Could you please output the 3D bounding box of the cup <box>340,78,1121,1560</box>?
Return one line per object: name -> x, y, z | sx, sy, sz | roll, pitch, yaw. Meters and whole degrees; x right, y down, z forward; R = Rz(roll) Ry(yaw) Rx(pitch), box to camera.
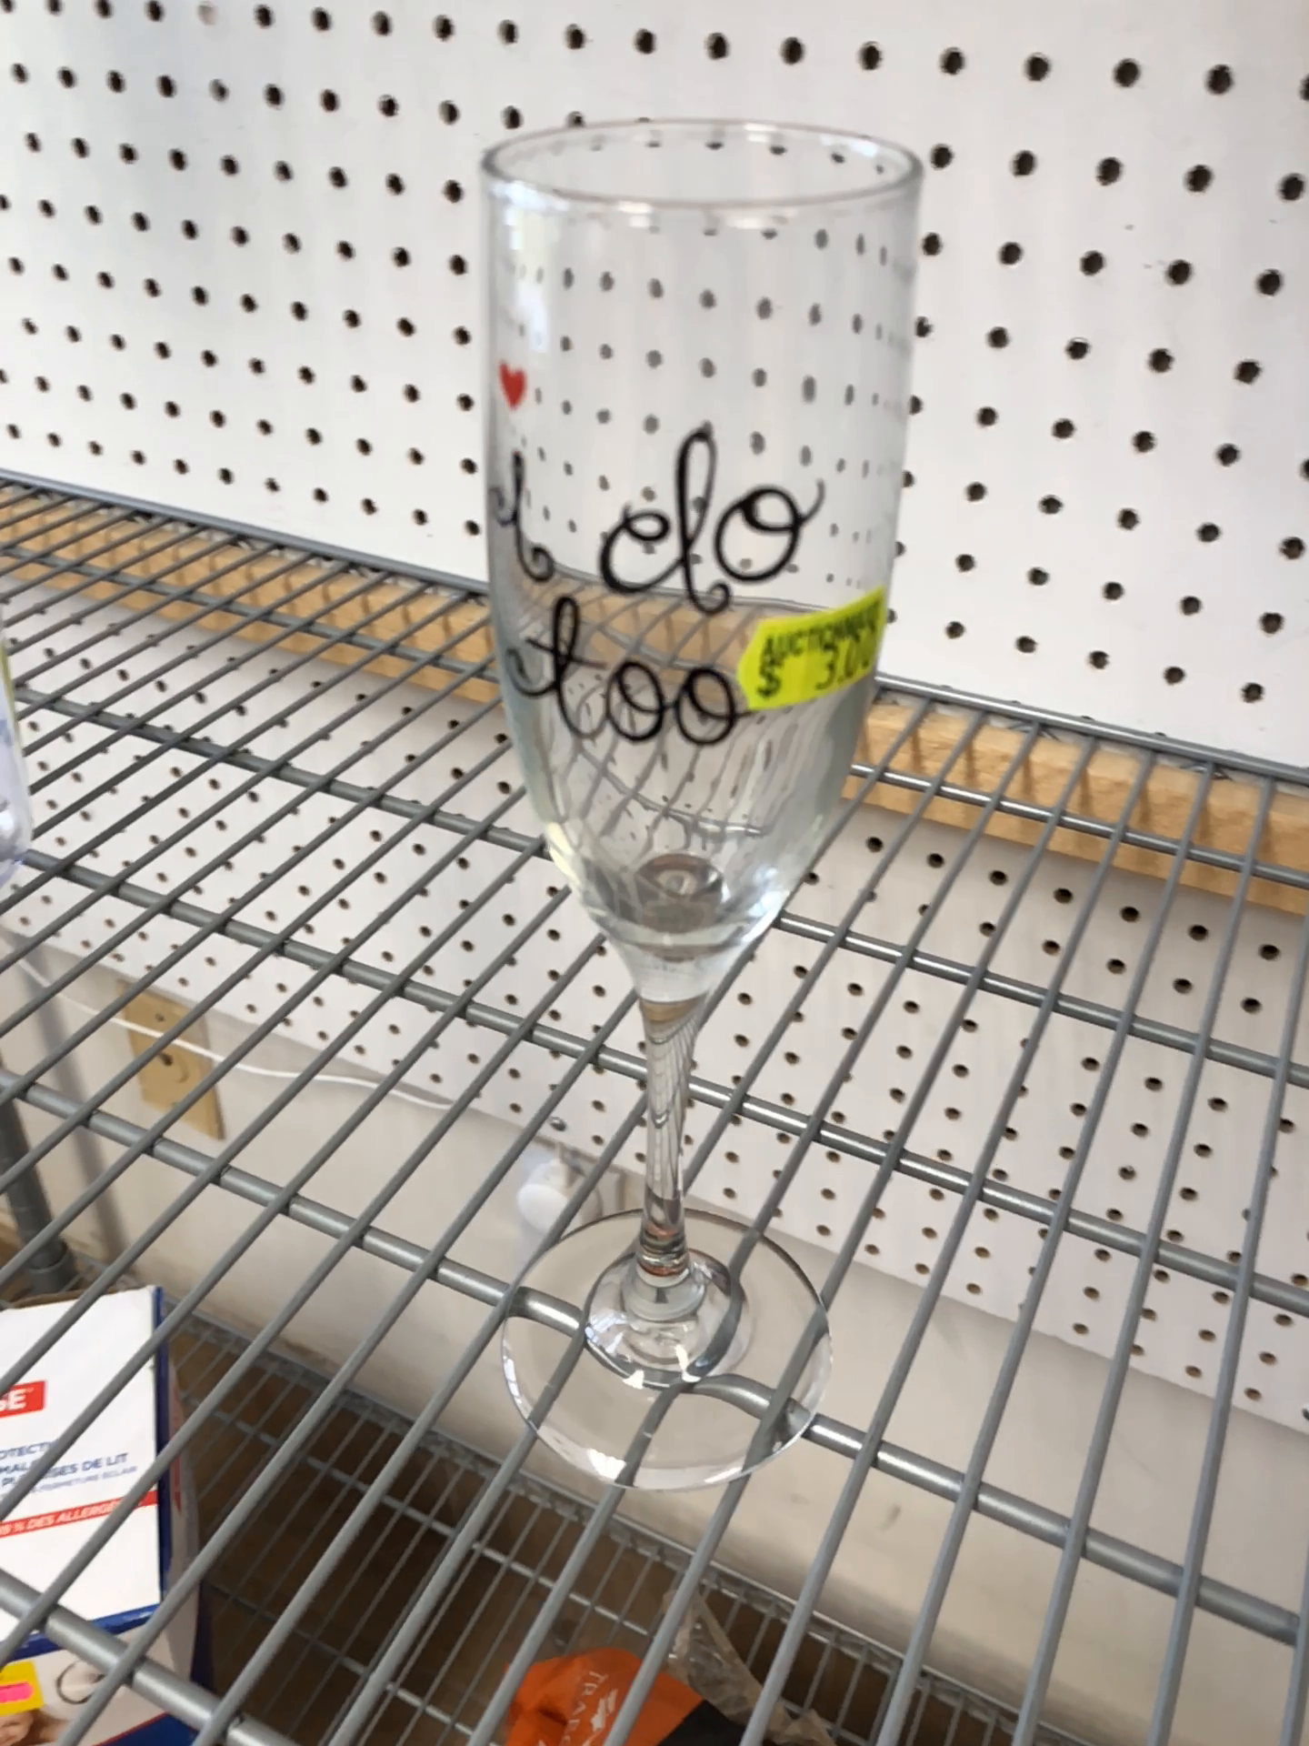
cup -> 0.011, 0.004, 0.221 | 0.070, 0.209, 0.070 | 1, 35, -1
